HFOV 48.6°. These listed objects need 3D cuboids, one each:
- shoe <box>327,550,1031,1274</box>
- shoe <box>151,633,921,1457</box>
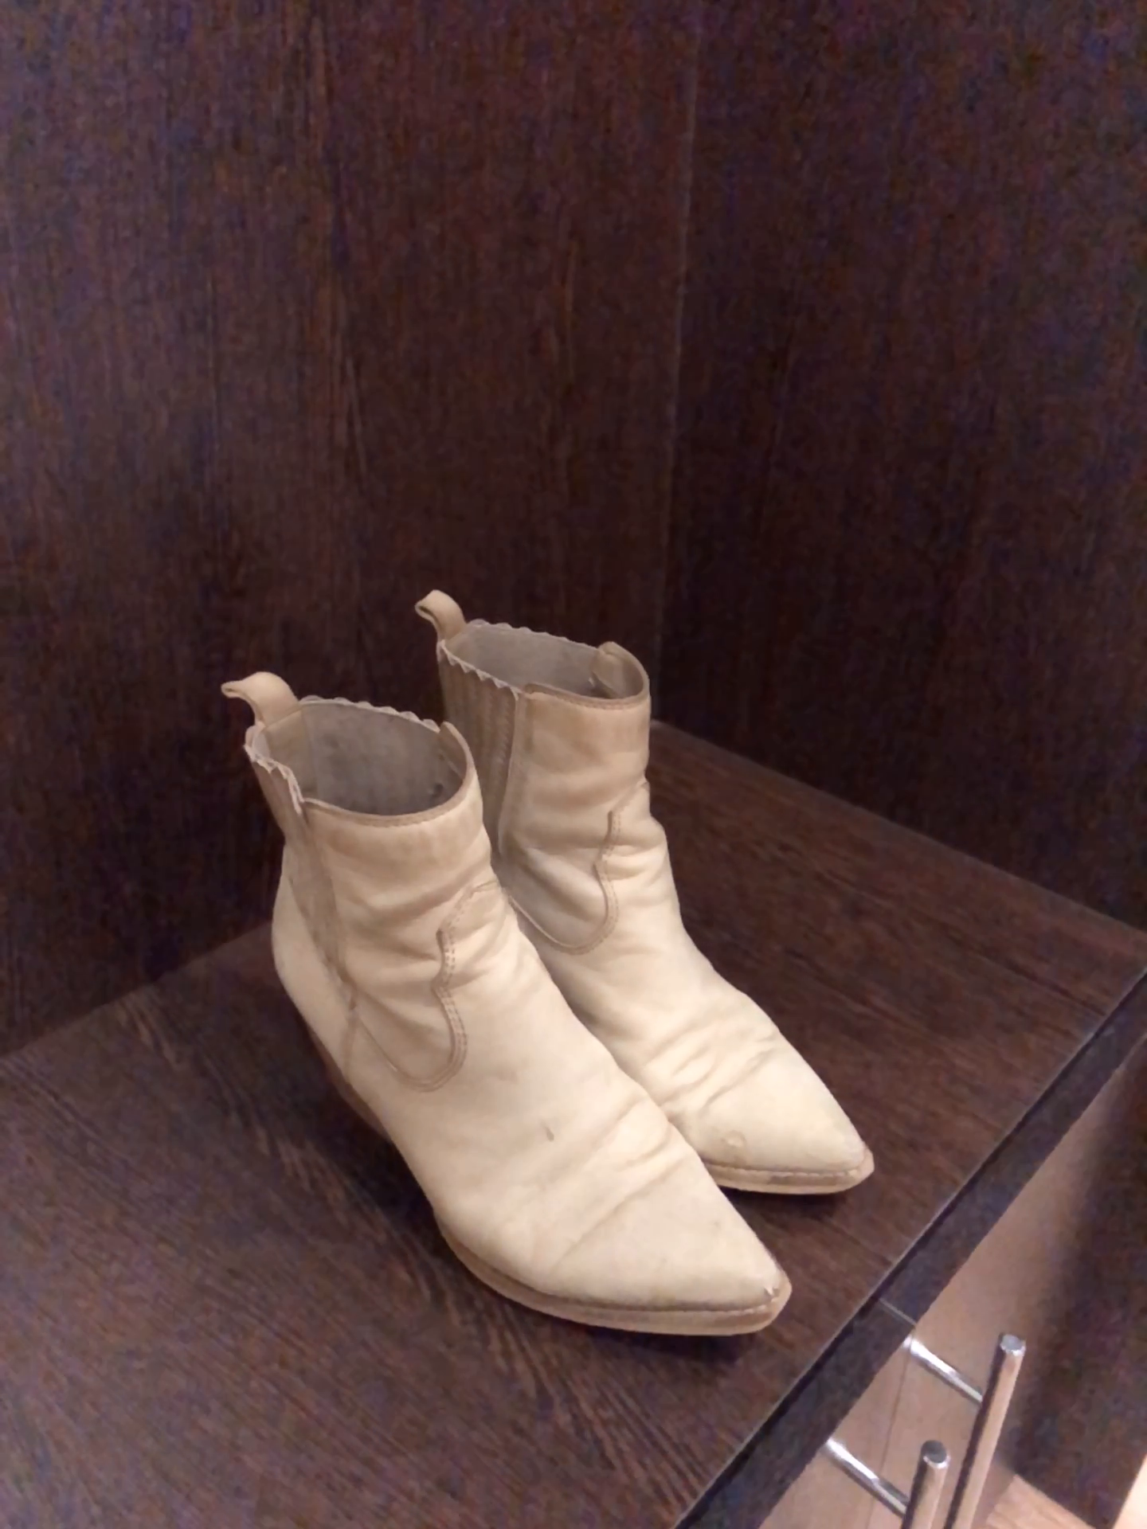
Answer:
[{"bbox_3d":[0.022,0.039,0.532,0.100,0.169,0.281,-23,37,-36],"label":"shoe"},{"bbox_3d":[-0.027,0.083,0.475,0.270,0.169,0.100,26,39,36],"label":"shoe"}]
